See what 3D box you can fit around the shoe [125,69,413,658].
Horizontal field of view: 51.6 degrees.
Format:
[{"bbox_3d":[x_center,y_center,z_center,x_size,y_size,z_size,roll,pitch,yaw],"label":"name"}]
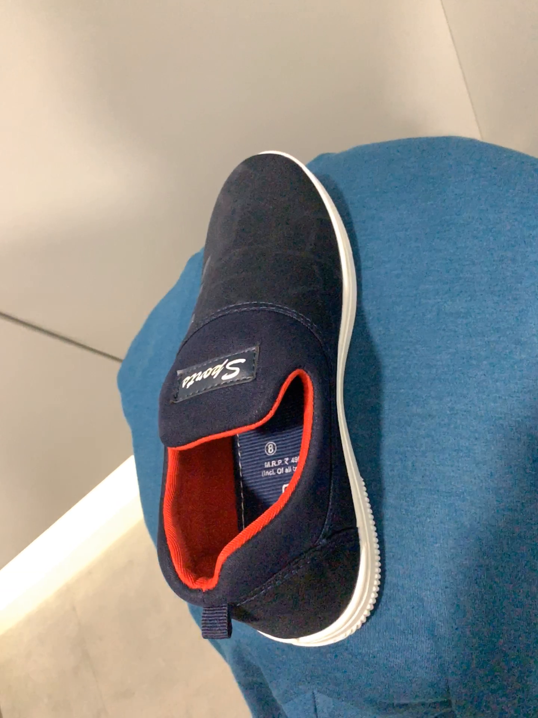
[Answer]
[{"bbox_3d":[-0.004,0.002,0.291,0.090,0.100,0.260,-15,67,26],"label":"shoe"}]
